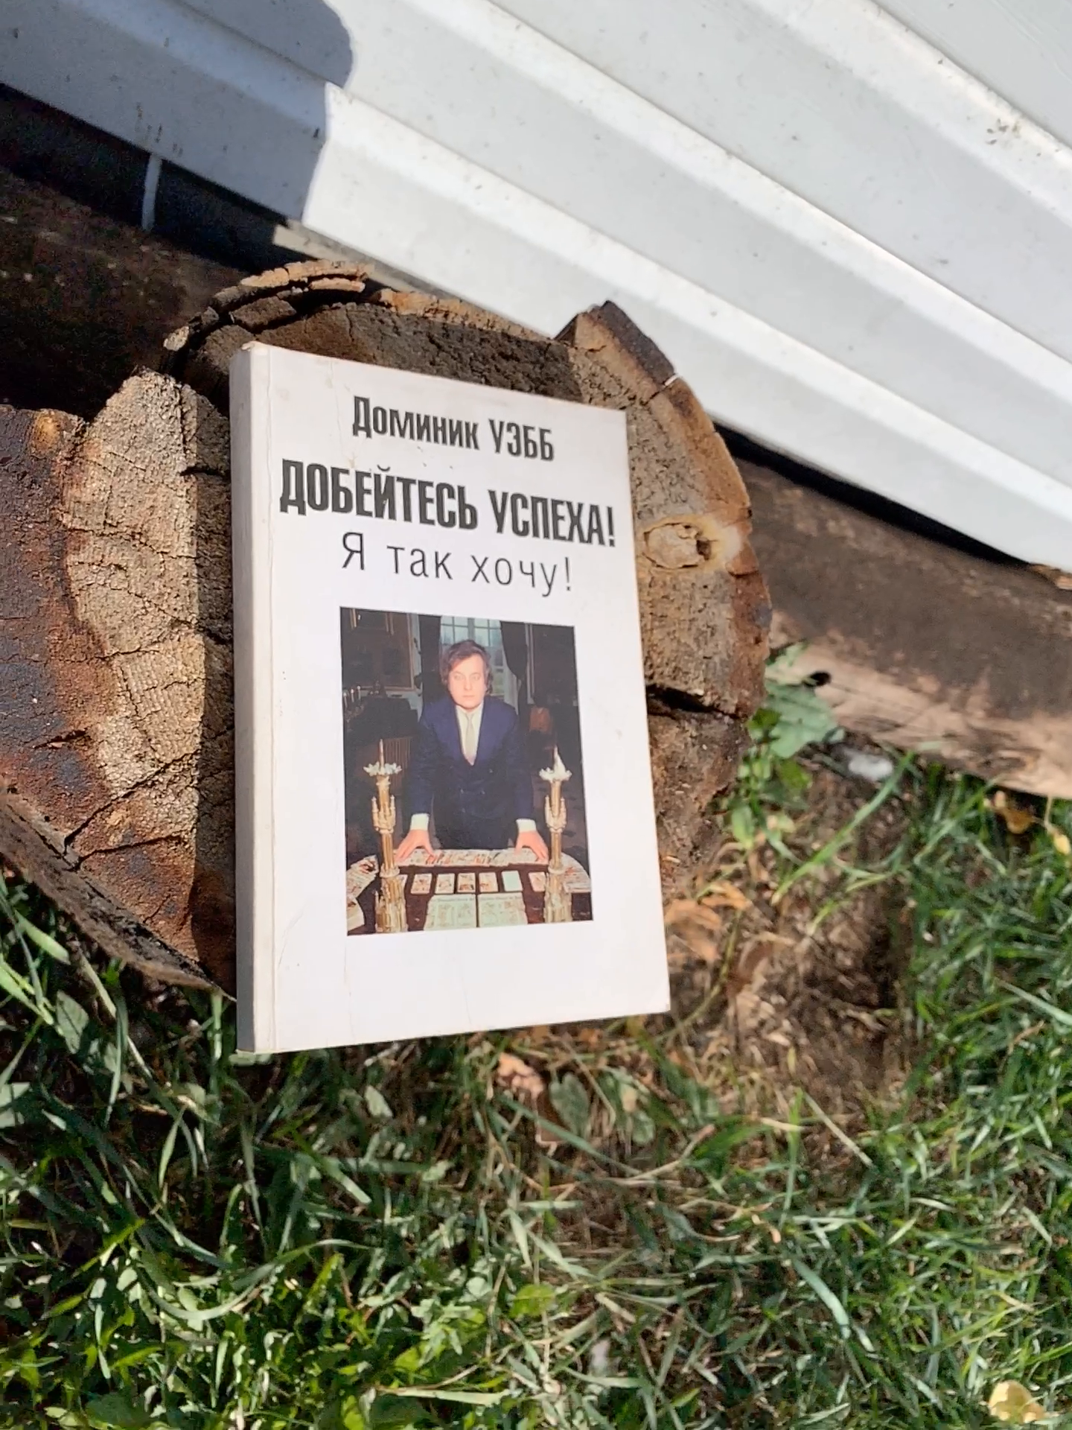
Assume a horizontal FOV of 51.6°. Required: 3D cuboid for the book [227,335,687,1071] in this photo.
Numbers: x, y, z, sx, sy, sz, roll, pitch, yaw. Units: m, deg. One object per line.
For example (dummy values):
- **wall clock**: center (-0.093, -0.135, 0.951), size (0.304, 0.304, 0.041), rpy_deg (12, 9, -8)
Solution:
- **book**: center (-0.024, -0.006, 0.350), size (0.140, 0.020, 0.210), rpy_deg (3, 77, -27)
